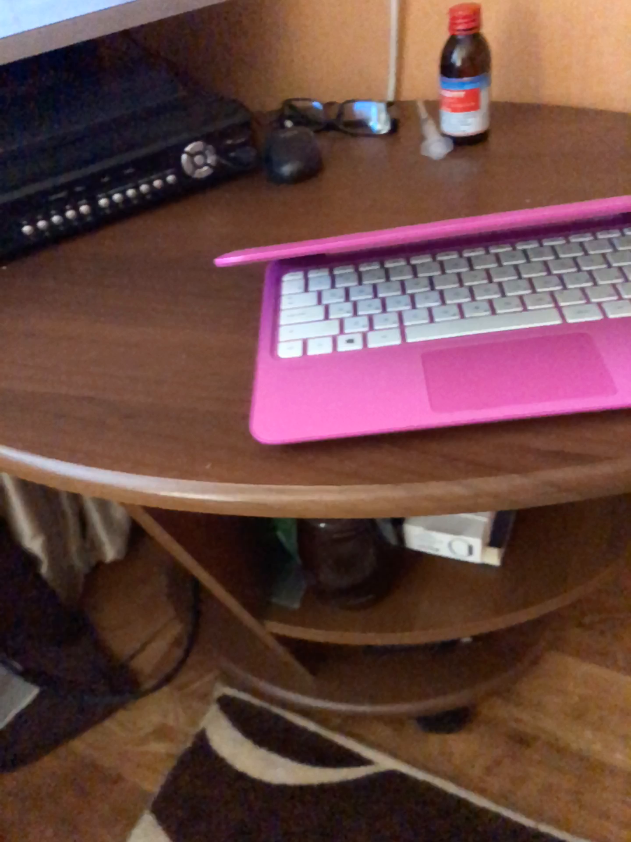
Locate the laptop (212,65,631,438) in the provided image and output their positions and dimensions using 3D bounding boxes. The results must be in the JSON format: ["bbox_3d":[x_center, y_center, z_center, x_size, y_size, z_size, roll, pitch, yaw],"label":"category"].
[{"bbox_3d":[0.094,-0.098,0.374,0.264,0.081,0.187,-7,41,6],"label":"laptop"}]
